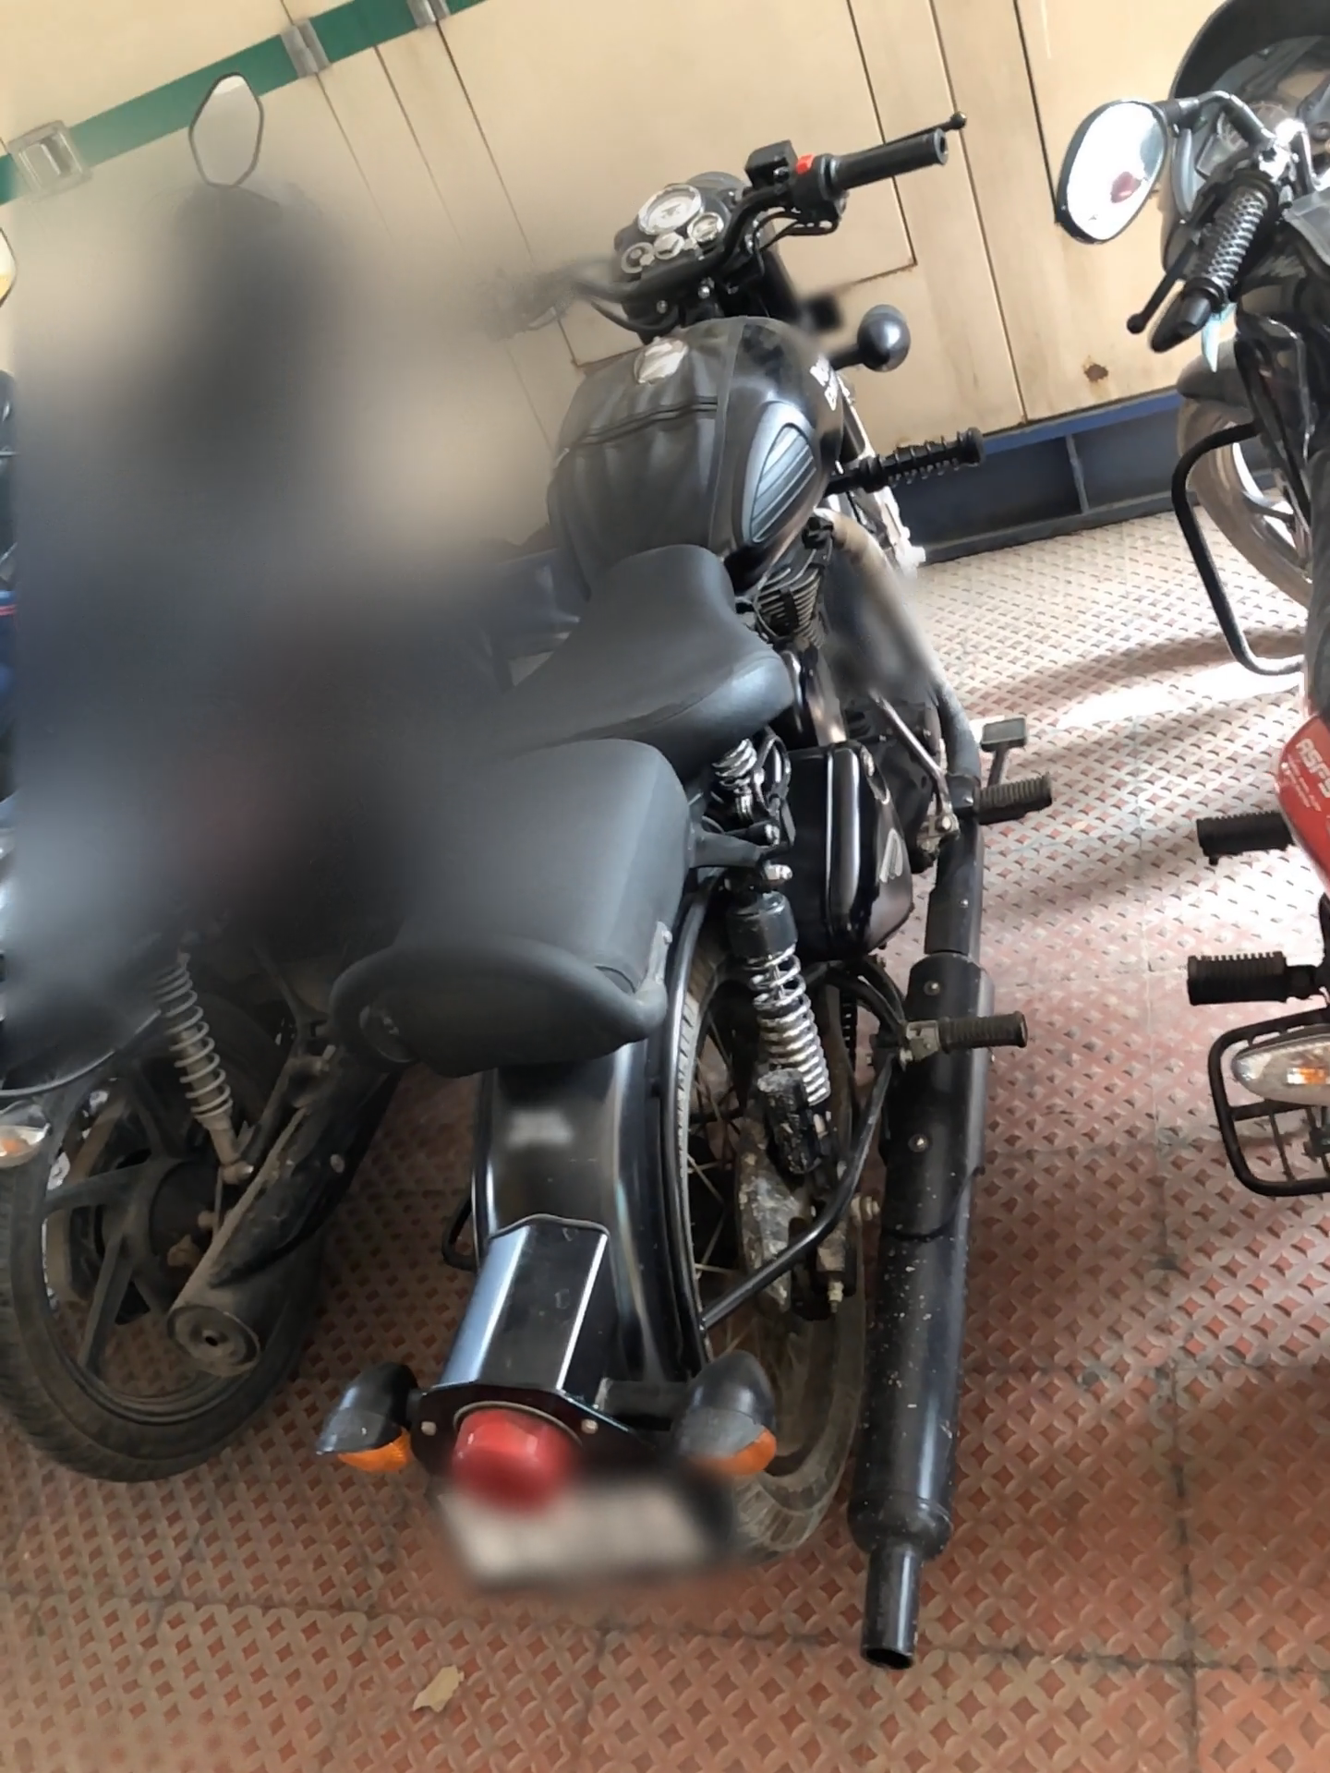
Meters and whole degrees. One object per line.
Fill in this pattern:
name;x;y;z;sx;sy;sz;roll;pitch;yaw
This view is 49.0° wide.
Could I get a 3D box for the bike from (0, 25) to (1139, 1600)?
bike;0.038;-0.222;1.770;0.709;0.919;1.694;-11;39;20
